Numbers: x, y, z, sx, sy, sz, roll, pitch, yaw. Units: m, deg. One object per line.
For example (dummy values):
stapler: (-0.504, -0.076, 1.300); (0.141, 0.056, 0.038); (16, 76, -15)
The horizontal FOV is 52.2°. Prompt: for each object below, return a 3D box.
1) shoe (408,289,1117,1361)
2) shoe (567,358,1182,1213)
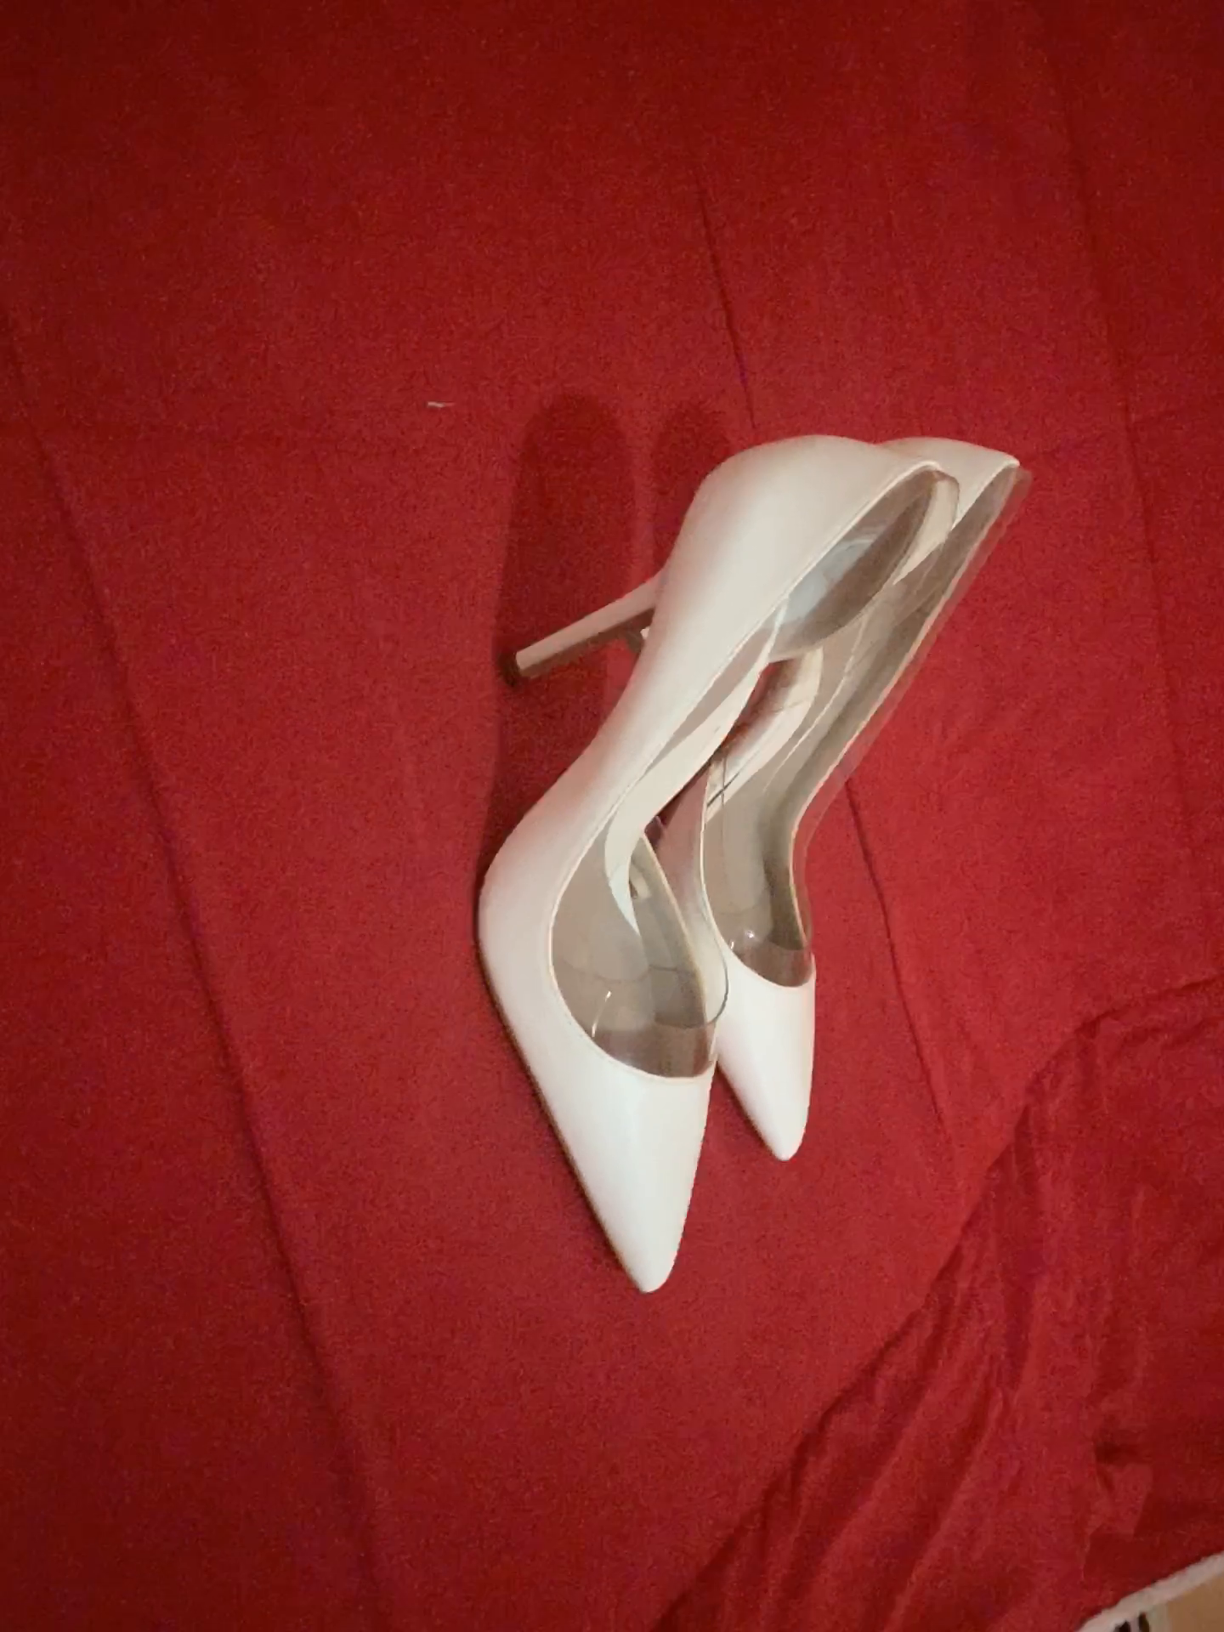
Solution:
shoe: (0.038, 0.009, 0.358); (0.098, 0.136, 0.243); (2, 78, -53)
shoe: (0.085, 0.000, 0.424); (0.098, 0.139, 0.240); (2, 78, -53)
